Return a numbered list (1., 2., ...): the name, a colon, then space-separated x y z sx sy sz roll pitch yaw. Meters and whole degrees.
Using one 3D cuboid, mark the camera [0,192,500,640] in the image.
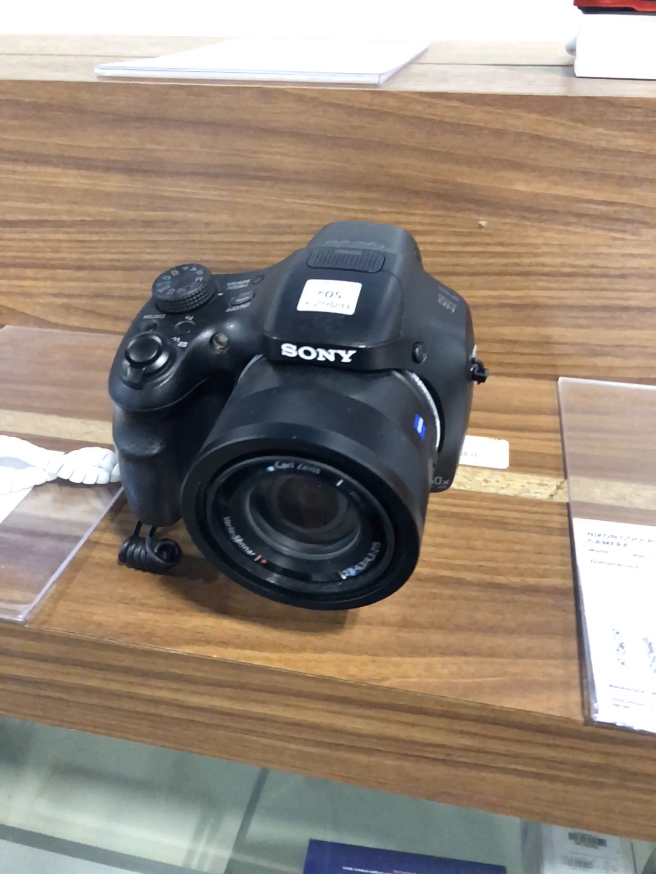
1. camera: -0.013 -0.020 0.251 0.130 0.089 0.131 6 33 9
